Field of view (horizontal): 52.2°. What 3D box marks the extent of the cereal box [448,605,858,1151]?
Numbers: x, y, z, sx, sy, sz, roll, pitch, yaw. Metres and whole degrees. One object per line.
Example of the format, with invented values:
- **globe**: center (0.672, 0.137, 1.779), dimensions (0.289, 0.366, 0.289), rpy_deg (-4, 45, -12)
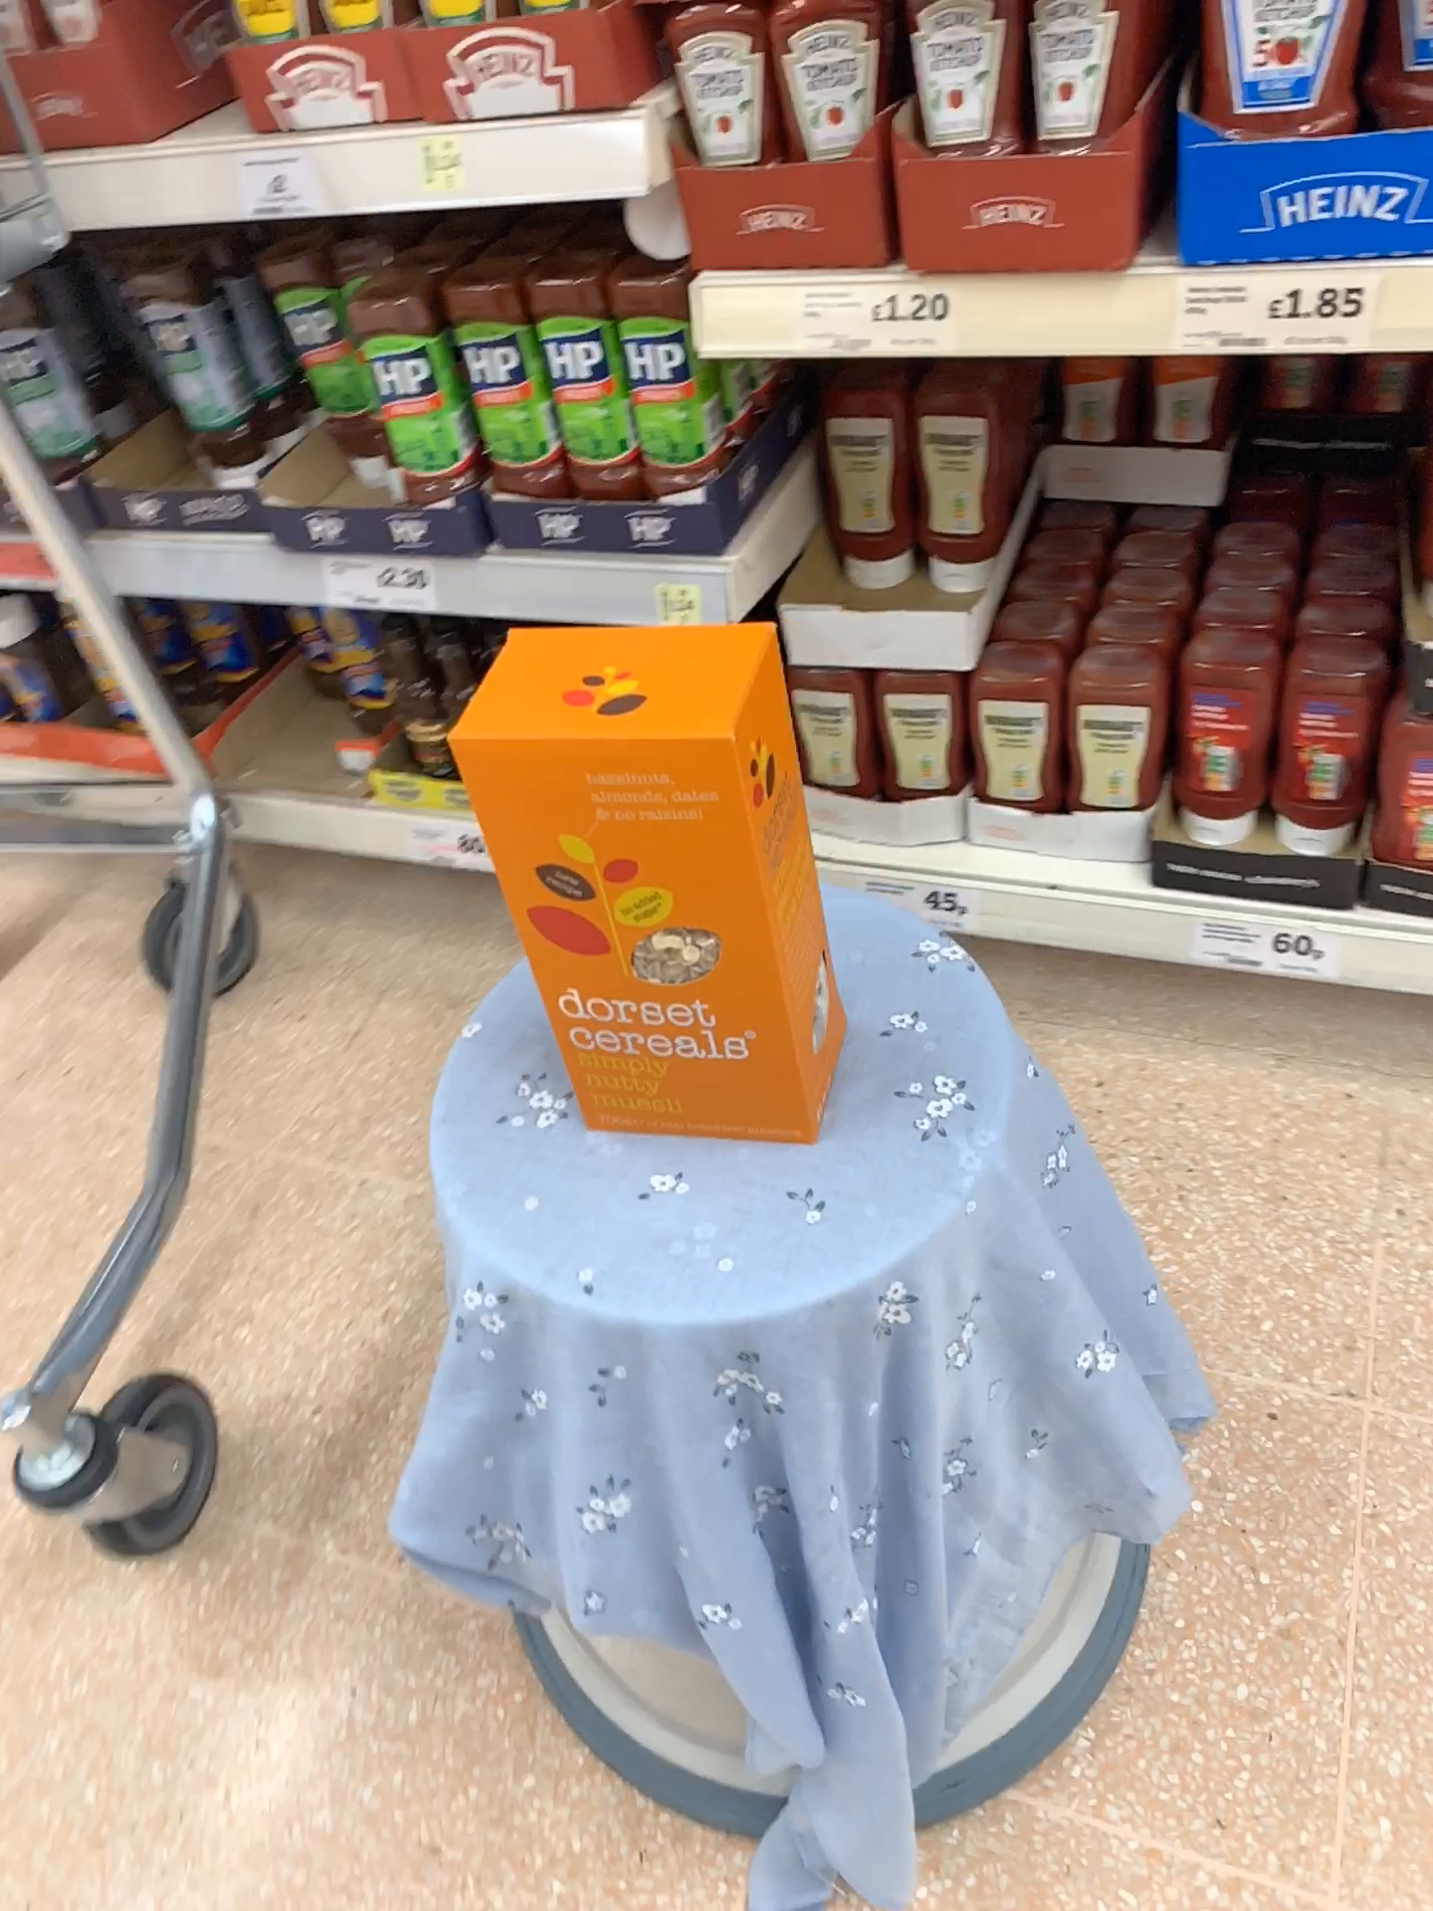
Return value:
- **cereal box**: center (-0.015, -0.027, 0.640), dimensions (0.120, 0.228, 0.091), rpy_deg (1, 44, 15)
